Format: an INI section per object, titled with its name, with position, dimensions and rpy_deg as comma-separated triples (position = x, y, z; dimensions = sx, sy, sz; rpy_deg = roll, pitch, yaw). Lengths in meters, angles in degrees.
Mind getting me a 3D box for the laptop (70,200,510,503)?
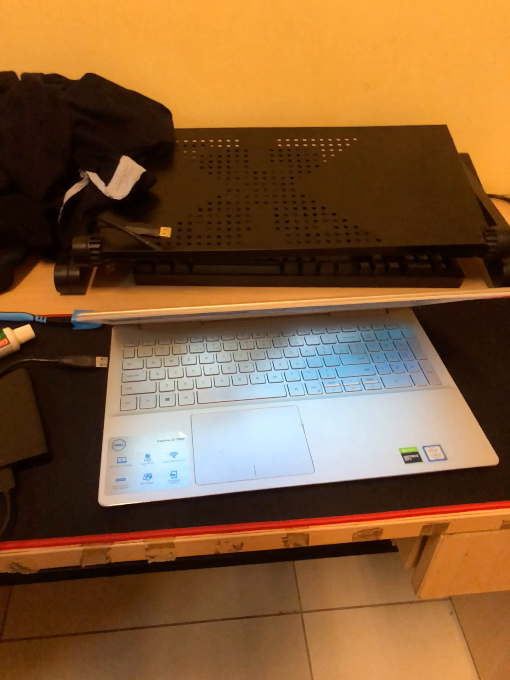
[laptop]
position = 0.029, -0.005, 0.529
dimensions = 0.351, 0.139, 0.219
rpy_deg = -5, 42, -7
